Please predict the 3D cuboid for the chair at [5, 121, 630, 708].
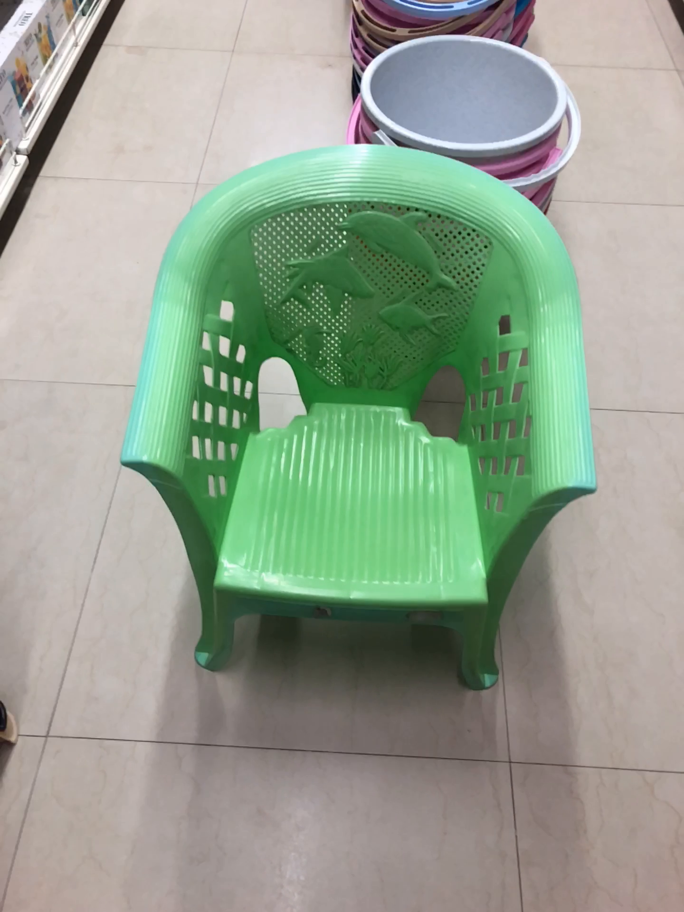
[{"bbox_3d":[-0.008,-0.038,0.814,0.430,0.398,0.473,3,54,1],"label":"chair"}]
